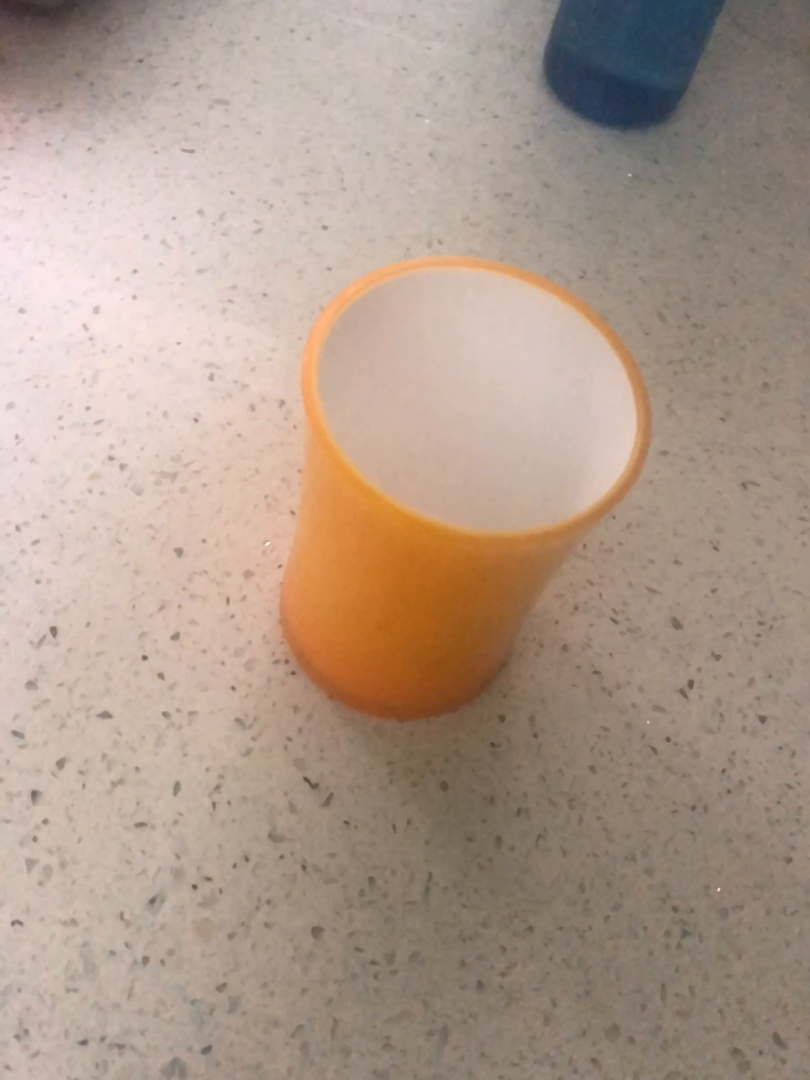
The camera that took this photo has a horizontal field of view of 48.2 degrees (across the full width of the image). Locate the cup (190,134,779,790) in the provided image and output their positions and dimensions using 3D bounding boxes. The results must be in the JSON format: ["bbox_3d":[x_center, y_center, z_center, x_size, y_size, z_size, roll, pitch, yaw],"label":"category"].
[{"bbox_3d":[0.009,-0.012,0.216,0.080,0.110,0.080,5,59,-8],"label":"cup"}]
